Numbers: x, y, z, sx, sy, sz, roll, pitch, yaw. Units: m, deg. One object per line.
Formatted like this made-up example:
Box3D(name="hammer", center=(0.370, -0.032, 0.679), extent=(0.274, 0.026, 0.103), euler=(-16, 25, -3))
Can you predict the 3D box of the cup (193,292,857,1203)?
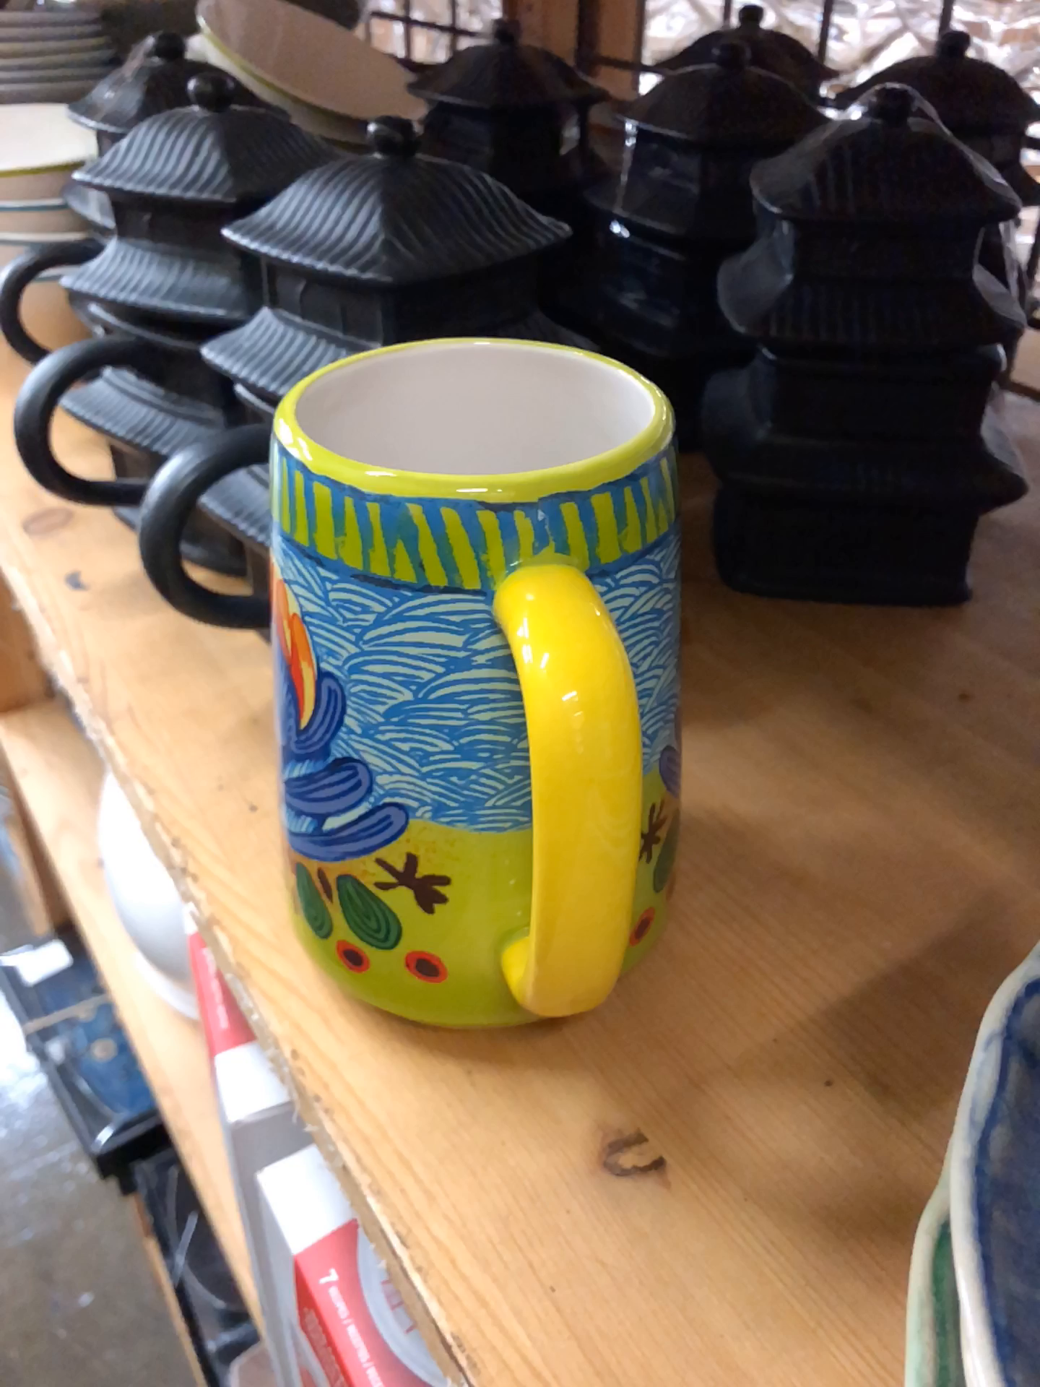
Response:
Box3D(name="cup", center=(-0.010, 0.003, 0.228), extent=(0.086, 0.125, 0.114), euler=(-8, 35, -11))
